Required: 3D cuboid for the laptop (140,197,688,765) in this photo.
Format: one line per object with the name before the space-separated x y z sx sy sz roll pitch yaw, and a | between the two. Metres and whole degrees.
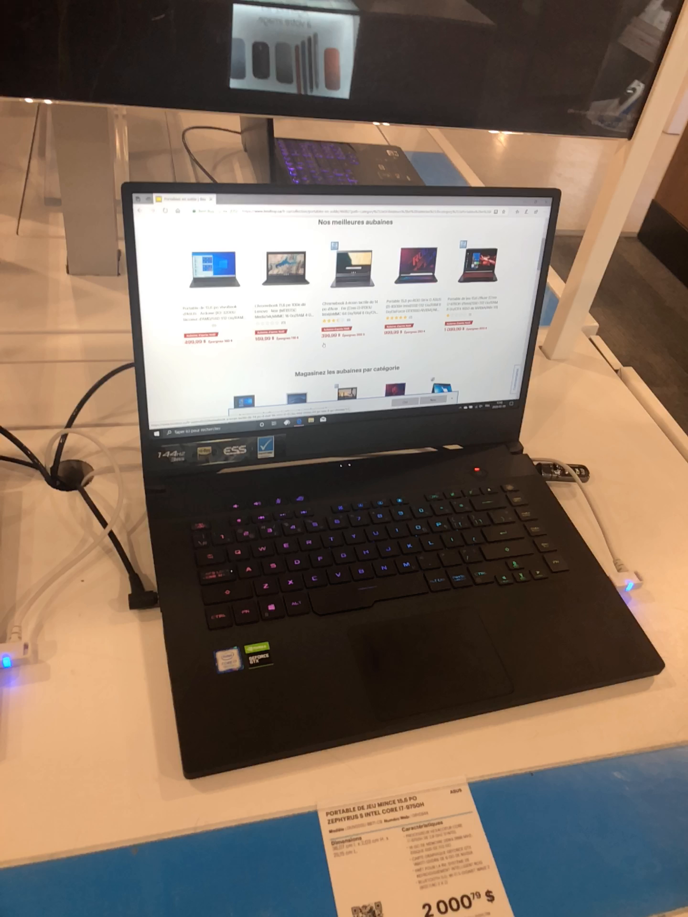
laptop | 0.045 -0.017 0.535 0.340 0.207 0.316 -5 44 -16
